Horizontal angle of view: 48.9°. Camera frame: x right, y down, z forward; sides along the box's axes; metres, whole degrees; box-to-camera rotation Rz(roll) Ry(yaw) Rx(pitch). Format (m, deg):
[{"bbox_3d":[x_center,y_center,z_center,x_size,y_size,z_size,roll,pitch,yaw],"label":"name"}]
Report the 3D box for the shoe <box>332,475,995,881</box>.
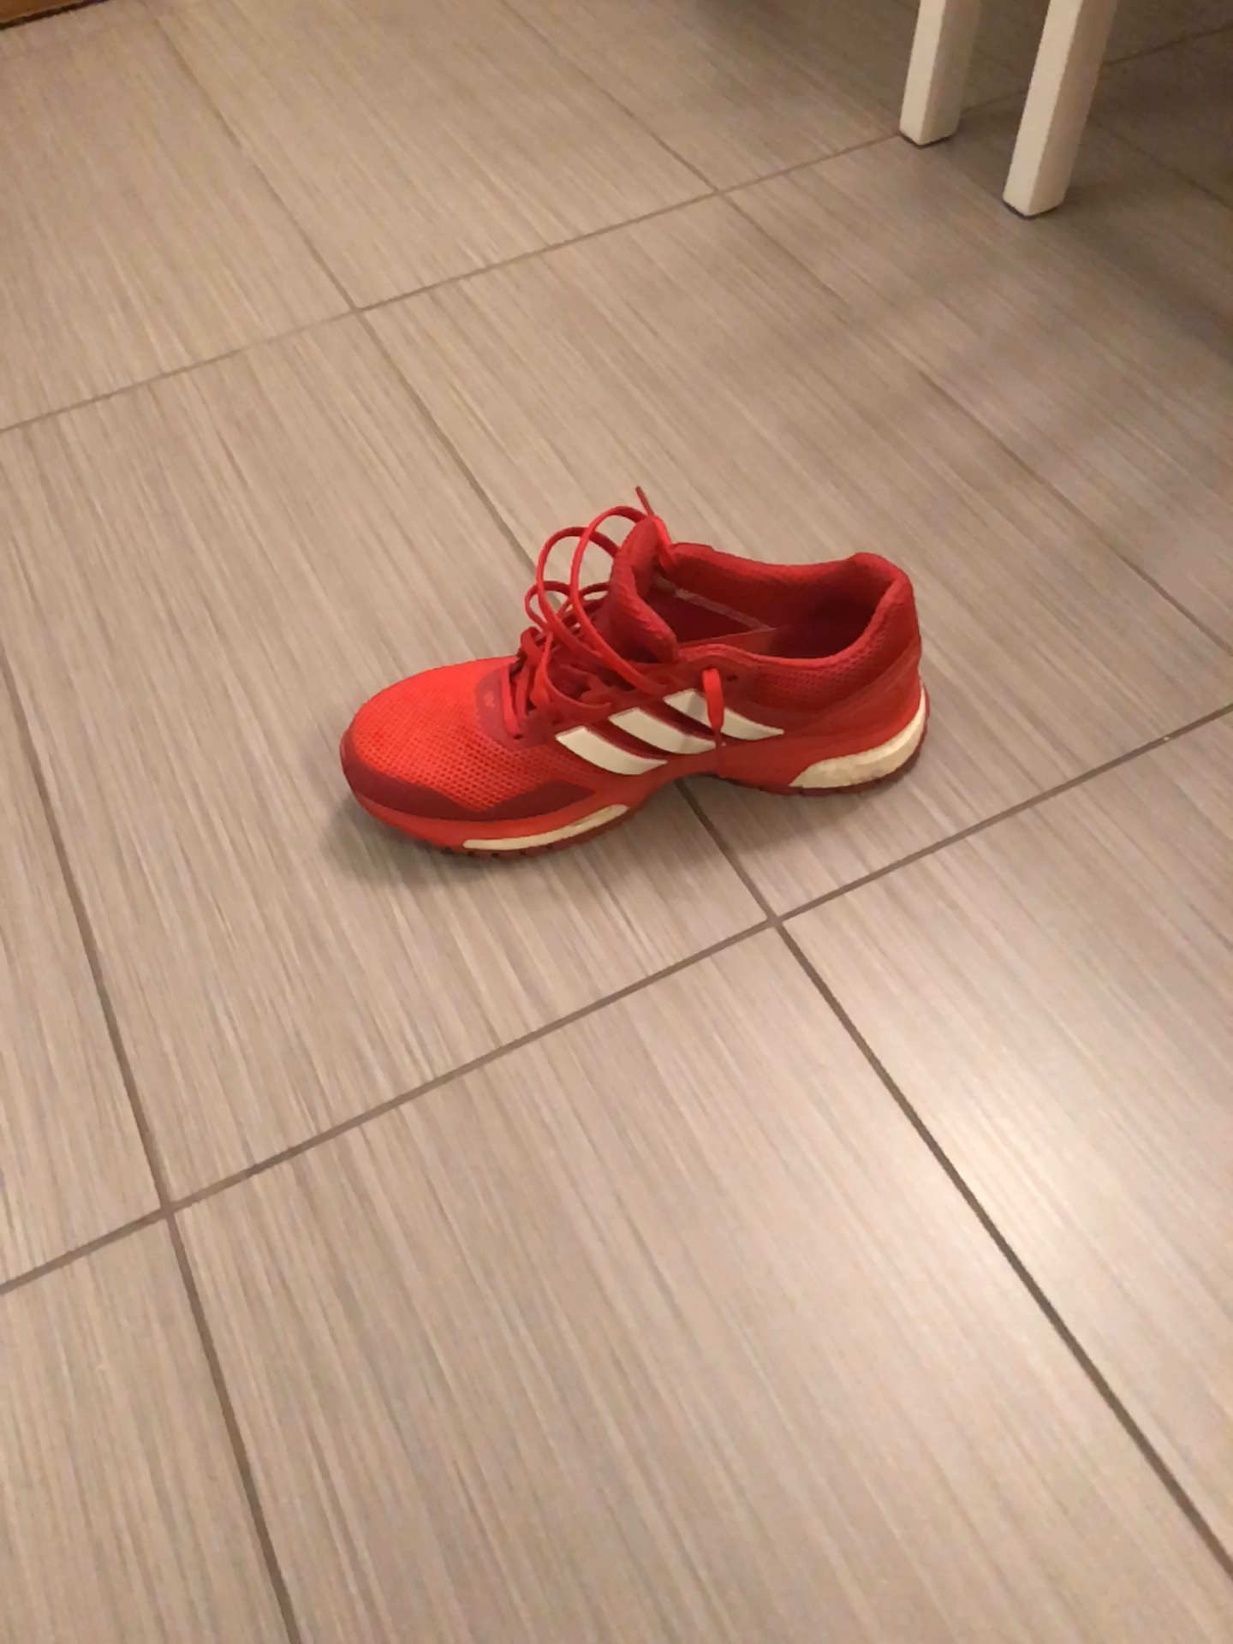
[{"bbox_3d":[0.017,-0.071,0.663,0.290,0.100,0.121,-9,52,-2],"label":"shoe"}]
